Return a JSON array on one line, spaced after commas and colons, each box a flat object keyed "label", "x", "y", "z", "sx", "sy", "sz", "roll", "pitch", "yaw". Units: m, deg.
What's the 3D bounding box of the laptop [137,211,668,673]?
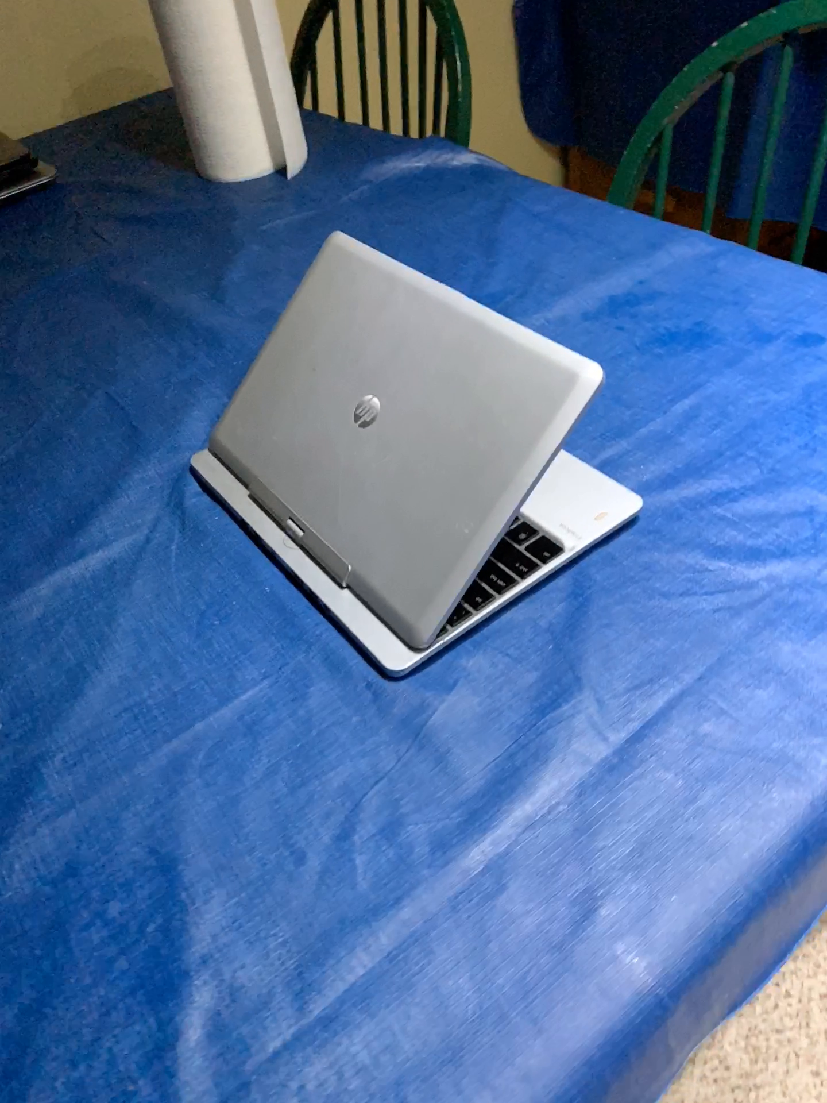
[{"label": "laptop", "x": -0.015, "y": -0.096, "z": 0.568, "sx": 0.208, "sy": 0.122, "sz": 0.281, "roll": -32, "pitch": 48, "yaw": -20}]
